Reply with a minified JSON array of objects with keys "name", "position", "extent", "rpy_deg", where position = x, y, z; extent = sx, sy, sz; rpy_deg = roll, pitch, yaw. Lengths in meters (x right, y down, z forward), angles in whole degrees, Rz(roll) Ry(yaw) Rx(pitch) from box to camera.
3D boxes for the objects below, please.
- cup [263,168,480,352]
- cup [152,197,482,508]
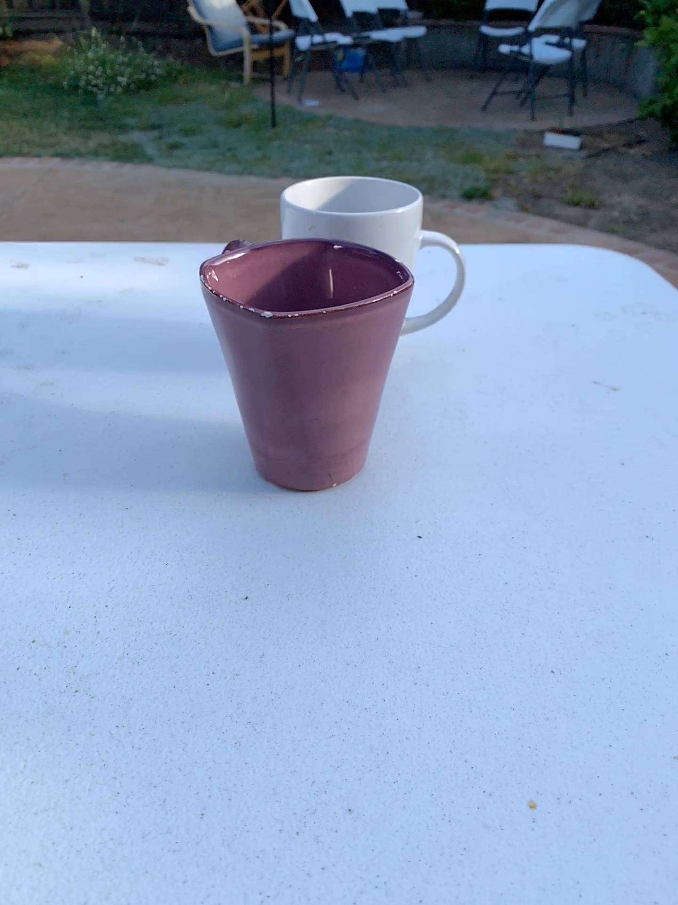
[{"name":"cup","position":[0.021,-0.127,0.450],"extent":[0.120,0.080,0.101],"rpy_deg":[4,35,4]},{"name":"cup","position":[-0.016,-0.059,0.350],"extent":[0.100,0.089,0.131],"rpy_deg":[-19,39,-27]}]
